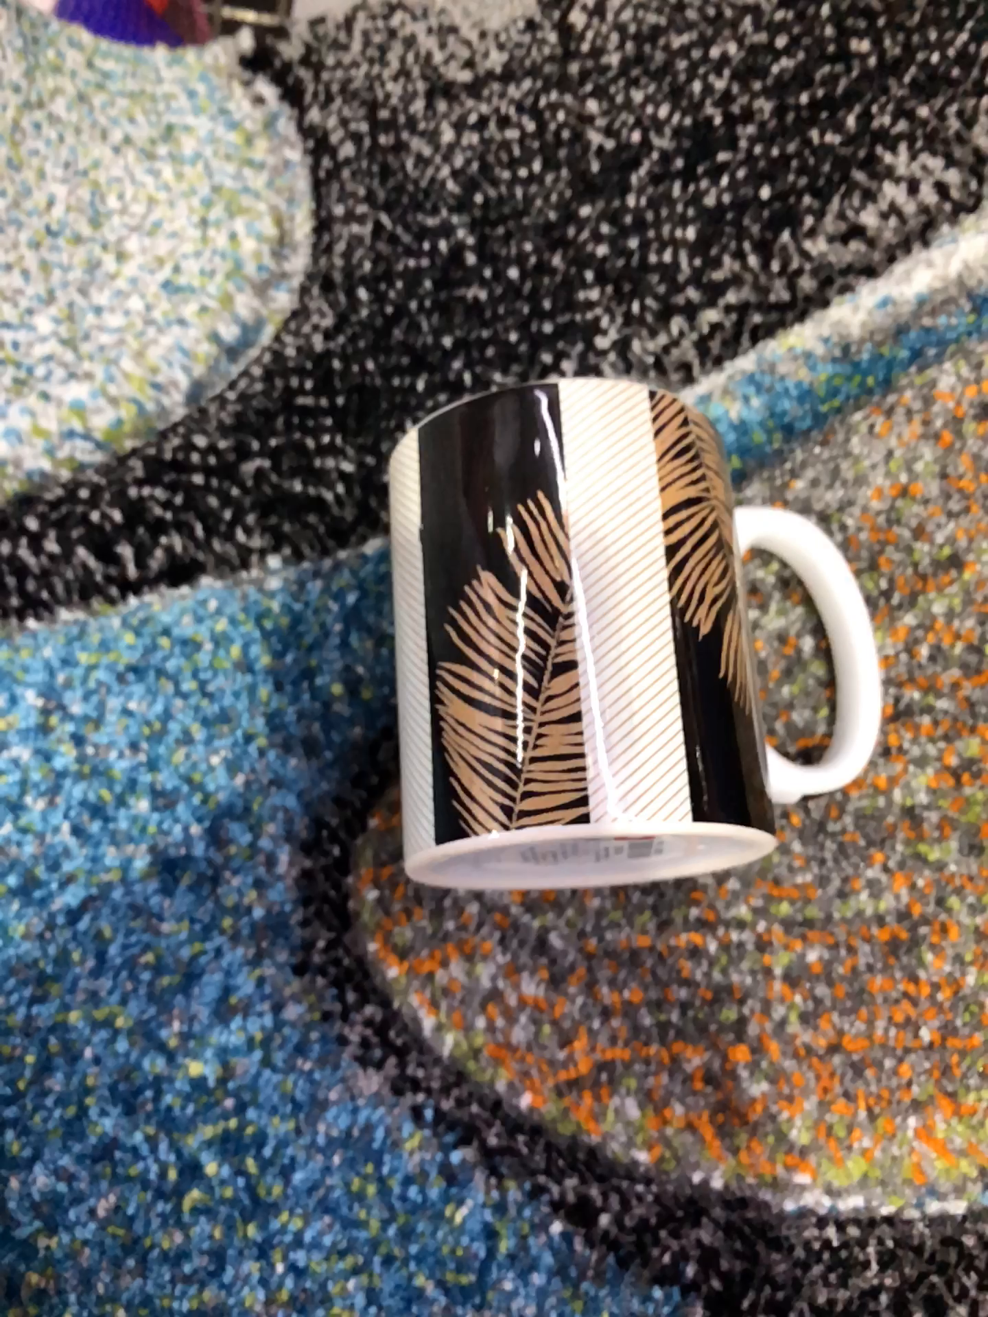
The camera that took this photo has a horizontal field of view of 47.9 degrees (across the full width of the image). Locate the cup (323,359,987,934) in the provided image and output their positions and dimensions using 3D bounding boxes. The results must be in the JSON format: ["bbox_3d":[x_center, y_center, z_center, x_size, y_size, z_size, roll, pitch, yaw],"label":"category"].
[{"bbox_3d":[0.031,0.003,0.246,0.120,0.070,0.100,1,72,-20],"label":"cup"}]
